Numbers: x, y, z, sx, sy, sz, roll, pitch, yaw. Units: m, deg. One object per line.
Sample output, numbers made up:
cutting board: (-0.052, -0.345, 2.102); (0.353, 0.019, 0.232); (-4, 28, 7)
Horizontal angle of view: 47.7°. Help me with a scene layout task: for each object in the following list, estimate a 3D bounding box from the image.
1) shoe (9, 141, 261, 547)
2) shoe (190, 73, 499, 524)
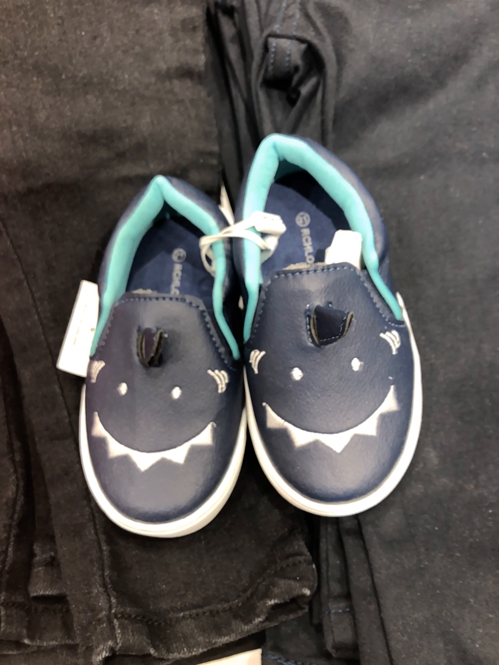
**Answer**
shoe: (-0.036, 0.003, 0.225); (0.080, 0.050, 0.150); (0, 72, 2)
shoe: (0.030, -0.014, 0.213); (0.080, 0.050, 0.150); (-9, 72, -1)
